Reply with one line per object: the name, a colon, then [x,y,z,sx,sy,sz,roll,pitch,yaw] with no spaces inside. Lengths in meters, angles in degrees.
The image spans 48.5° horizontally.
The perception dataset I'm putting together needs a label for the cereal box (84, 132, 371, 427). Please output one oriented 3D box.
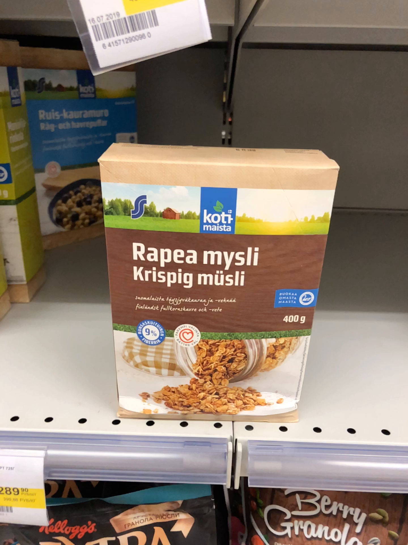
cereal box: [0.010,0.011,0.300,0.150,0.189,0.050,1,25,0]
